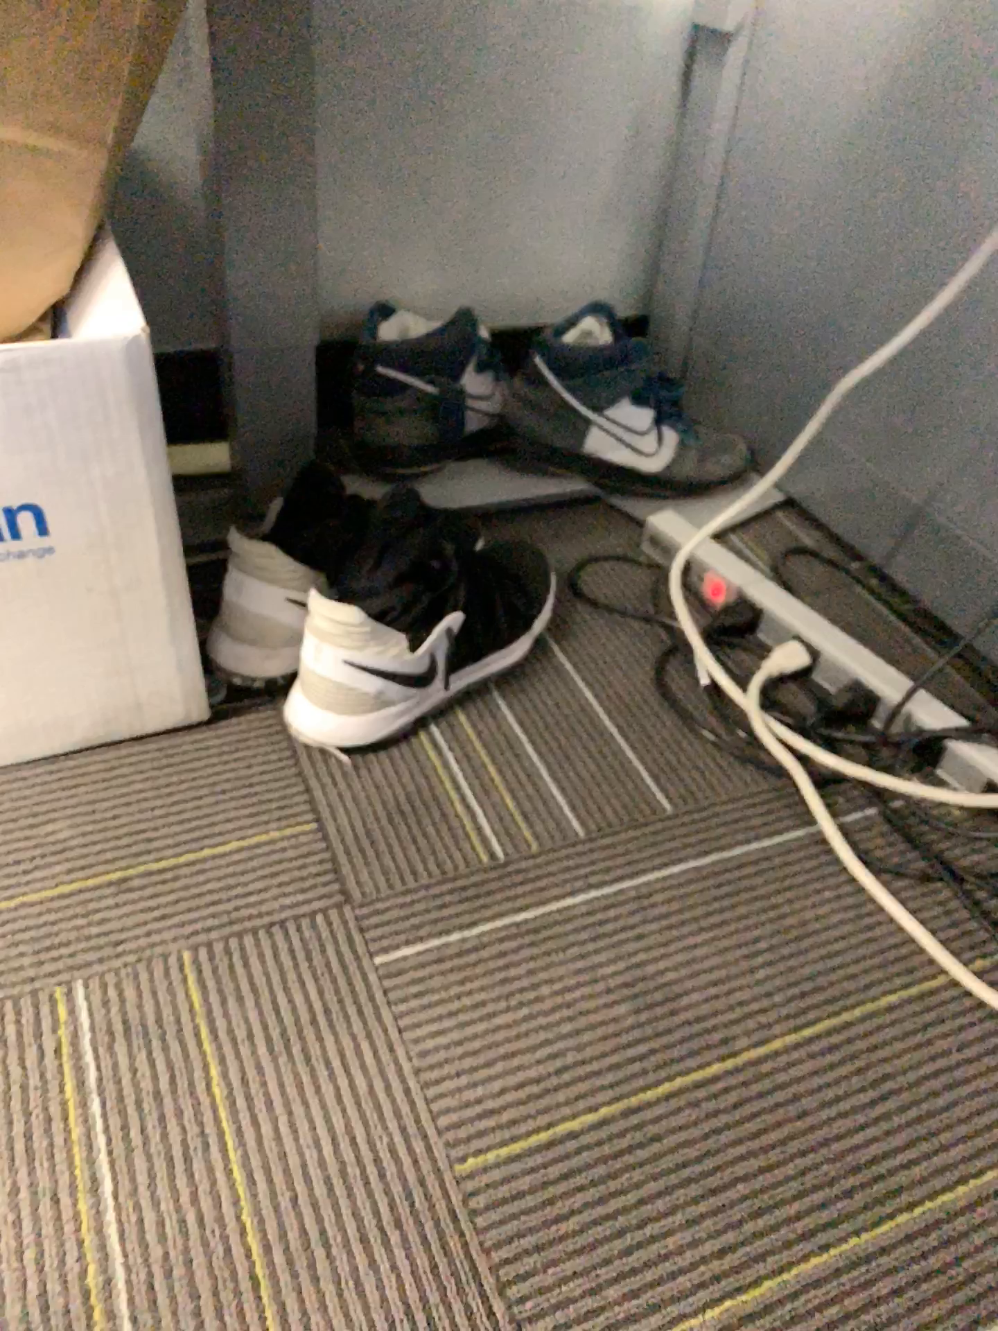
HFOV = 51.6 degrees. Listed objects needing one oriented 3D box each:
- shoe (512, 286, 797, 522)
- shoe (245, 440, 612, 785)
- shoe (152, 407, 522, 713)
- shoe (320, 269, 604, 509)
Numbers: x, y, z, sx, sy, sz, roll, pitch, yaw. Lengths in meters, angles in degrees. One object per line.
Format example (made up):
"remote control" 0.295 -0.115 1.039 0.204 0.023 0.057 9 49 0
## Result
"shoe" 0.160 -0.285 1.133 0.260 0.159 0.131 11 39 -6
"shoe" -0.046 -0.053 0.805 0.100 0.129 0.291 31 46 27
"shoe" -0.125 -0.100 0.876 0.100 0.129 0.301 34 47 29
"shoe" -0.034 -0.320 1.152 0.130 0.169 0.331 27 36 23
